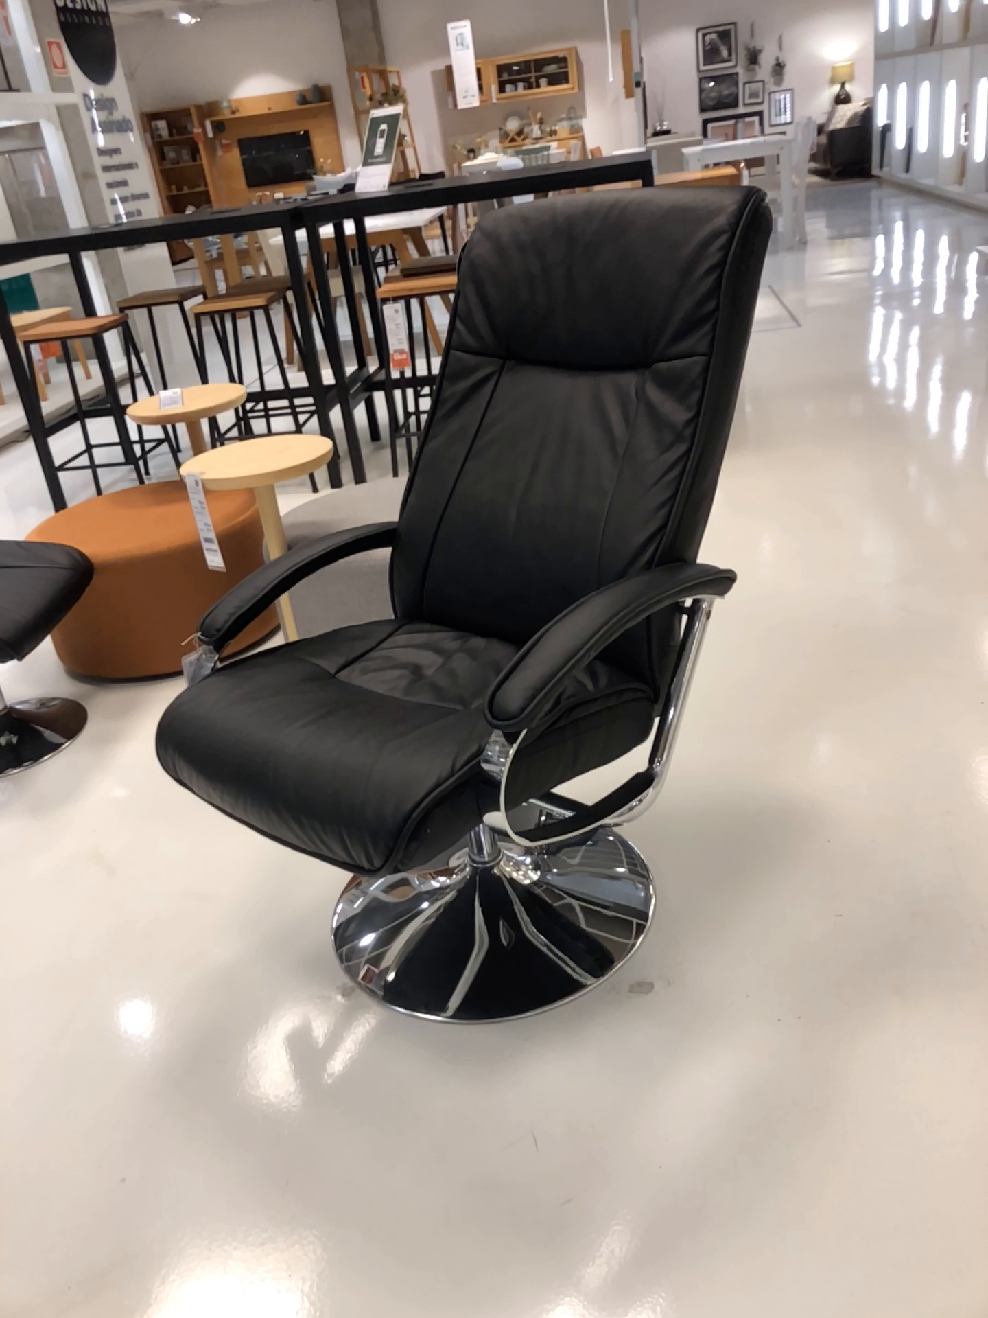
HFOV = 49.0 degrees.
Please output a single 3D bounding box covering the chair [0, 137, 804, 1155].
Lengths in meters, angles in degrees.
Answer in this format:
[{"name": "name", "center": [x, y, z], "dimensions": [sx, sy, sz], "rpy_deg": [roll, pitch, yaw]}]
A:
[{"name": "chair", "center": [-0.039, -0.084, 1.623], "dimensions": [0.752, 1.131, 0.724], "rpy_deg": [11, 32, 35]}]
